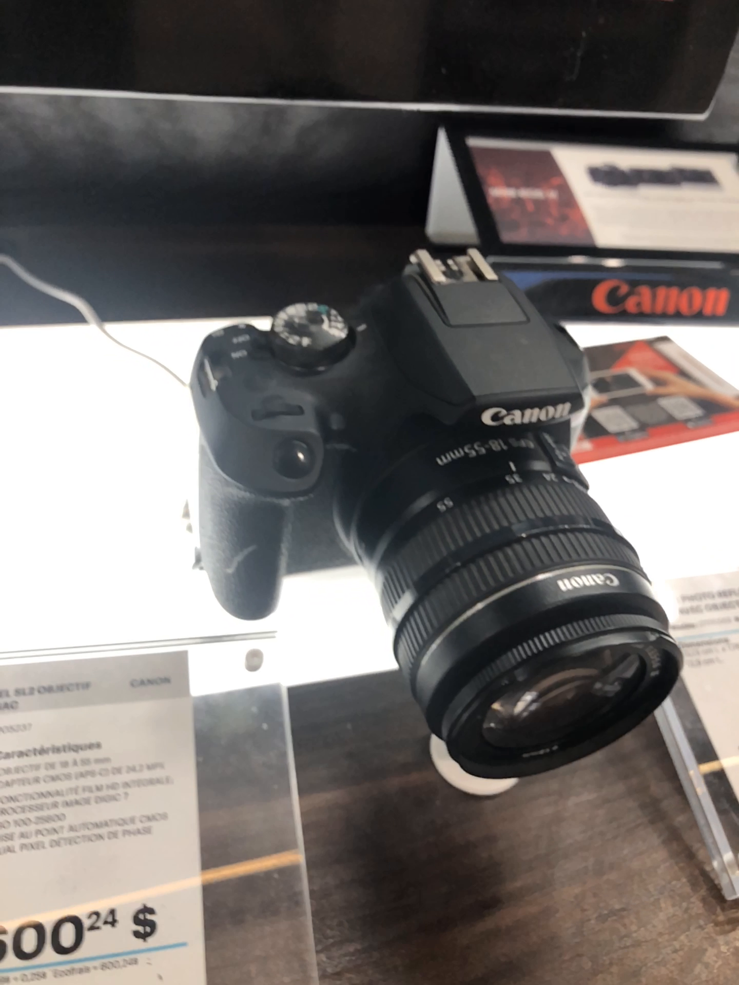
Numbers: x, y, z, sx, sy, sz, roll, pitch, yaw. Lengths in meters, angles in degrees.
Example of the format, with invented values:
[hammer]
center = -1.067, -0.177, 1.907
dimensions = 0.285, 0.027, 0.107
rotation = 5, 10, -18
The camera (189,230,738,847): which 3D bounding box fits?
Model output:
[camera]
center = 0.027, 0.001, 0.222
dimensions = 0.128, 0.099, 0.112
rotation = -7, 40, -18
